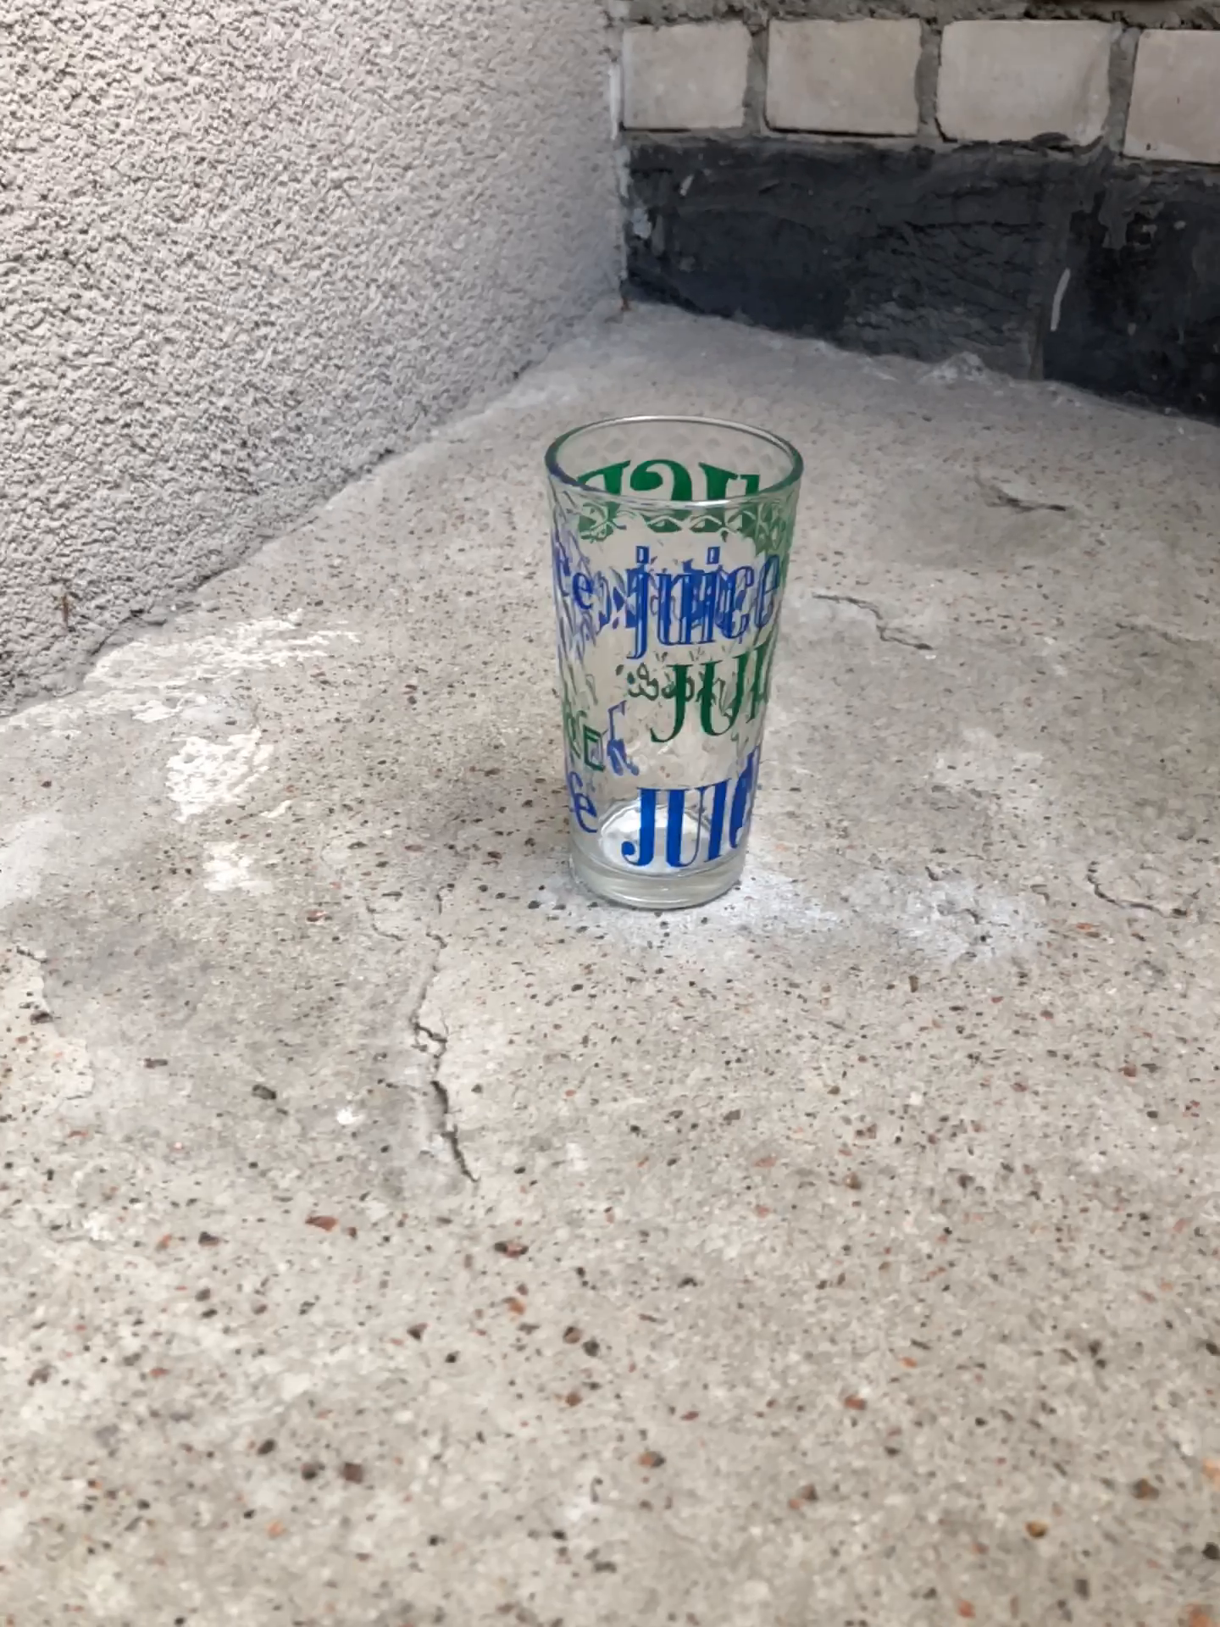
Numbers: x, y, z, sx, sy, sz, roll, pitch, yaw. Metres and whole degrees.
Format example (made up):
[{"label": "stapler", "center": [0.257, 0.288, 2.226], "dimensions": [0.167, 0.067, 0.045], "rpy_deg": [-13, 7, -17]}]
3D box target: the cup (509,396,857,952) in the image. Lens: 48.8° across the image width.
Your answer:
[{"label": "cup", "center": [0.015, -0.038, 0.366], "dimensions": [0.066, 0.125, 0.067], "rpy_deg": [1, 32, 0]}]
